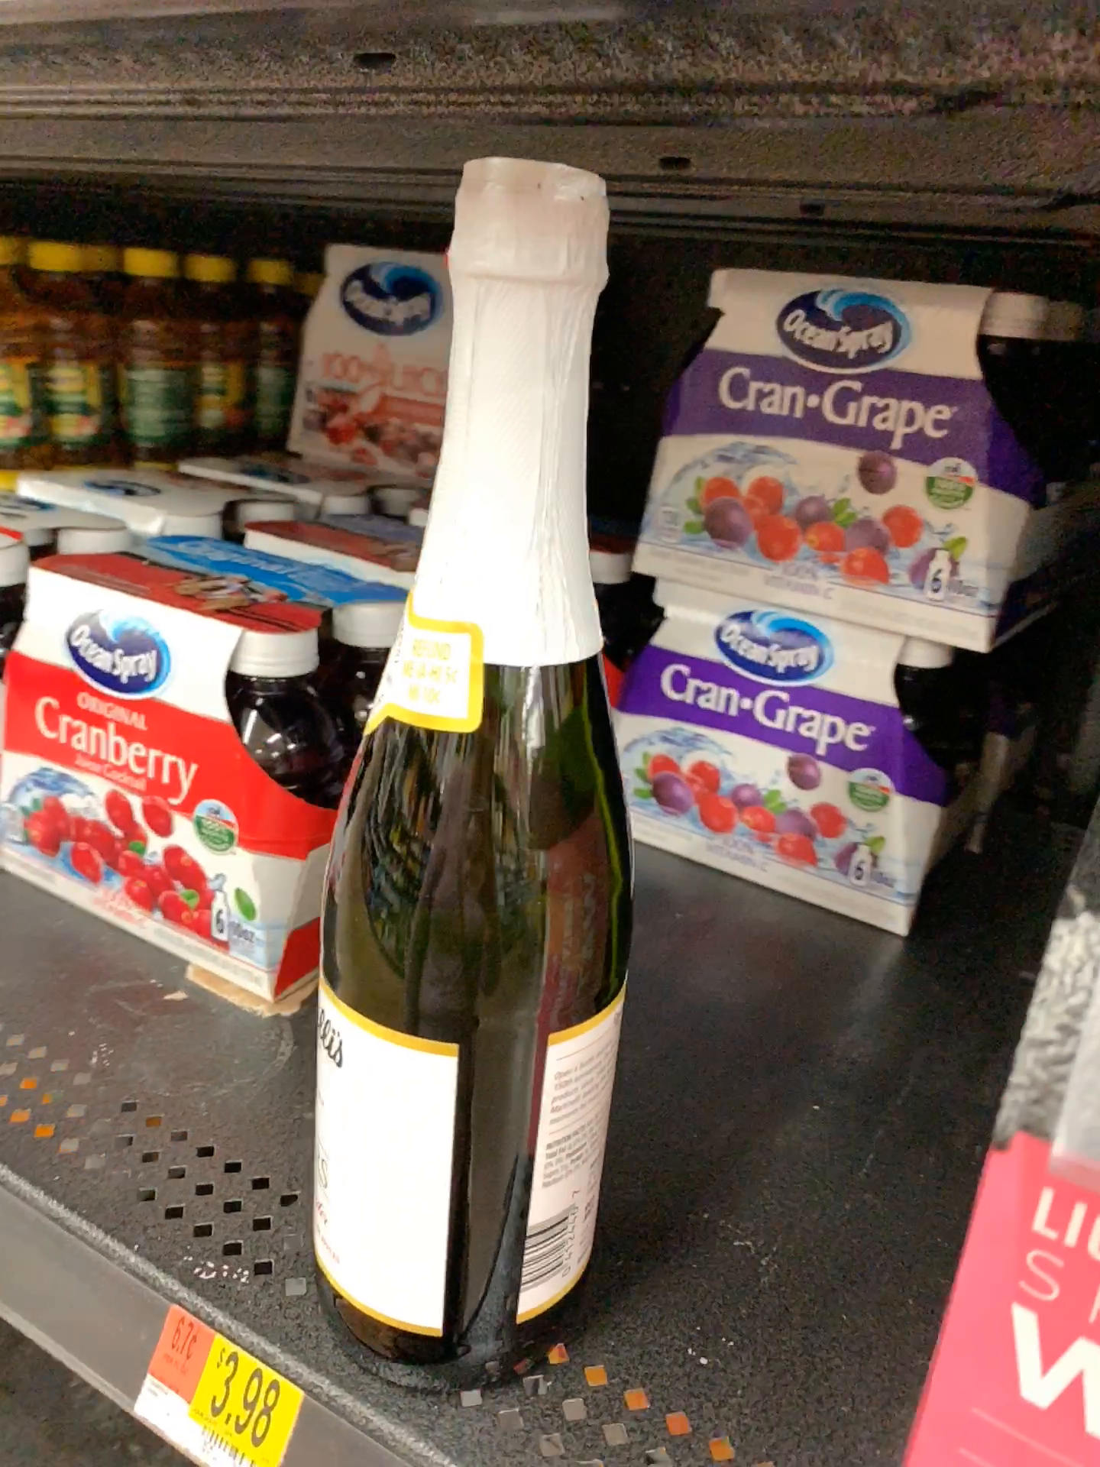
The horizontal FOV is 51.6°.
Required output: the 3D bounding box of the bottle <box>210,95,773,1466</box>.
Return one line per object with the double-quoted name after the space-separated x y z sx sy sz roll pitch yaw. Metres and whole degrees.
-0.016 0.025 0.274 0.090 0.299 0.090 4 21 -2 "bottle"
